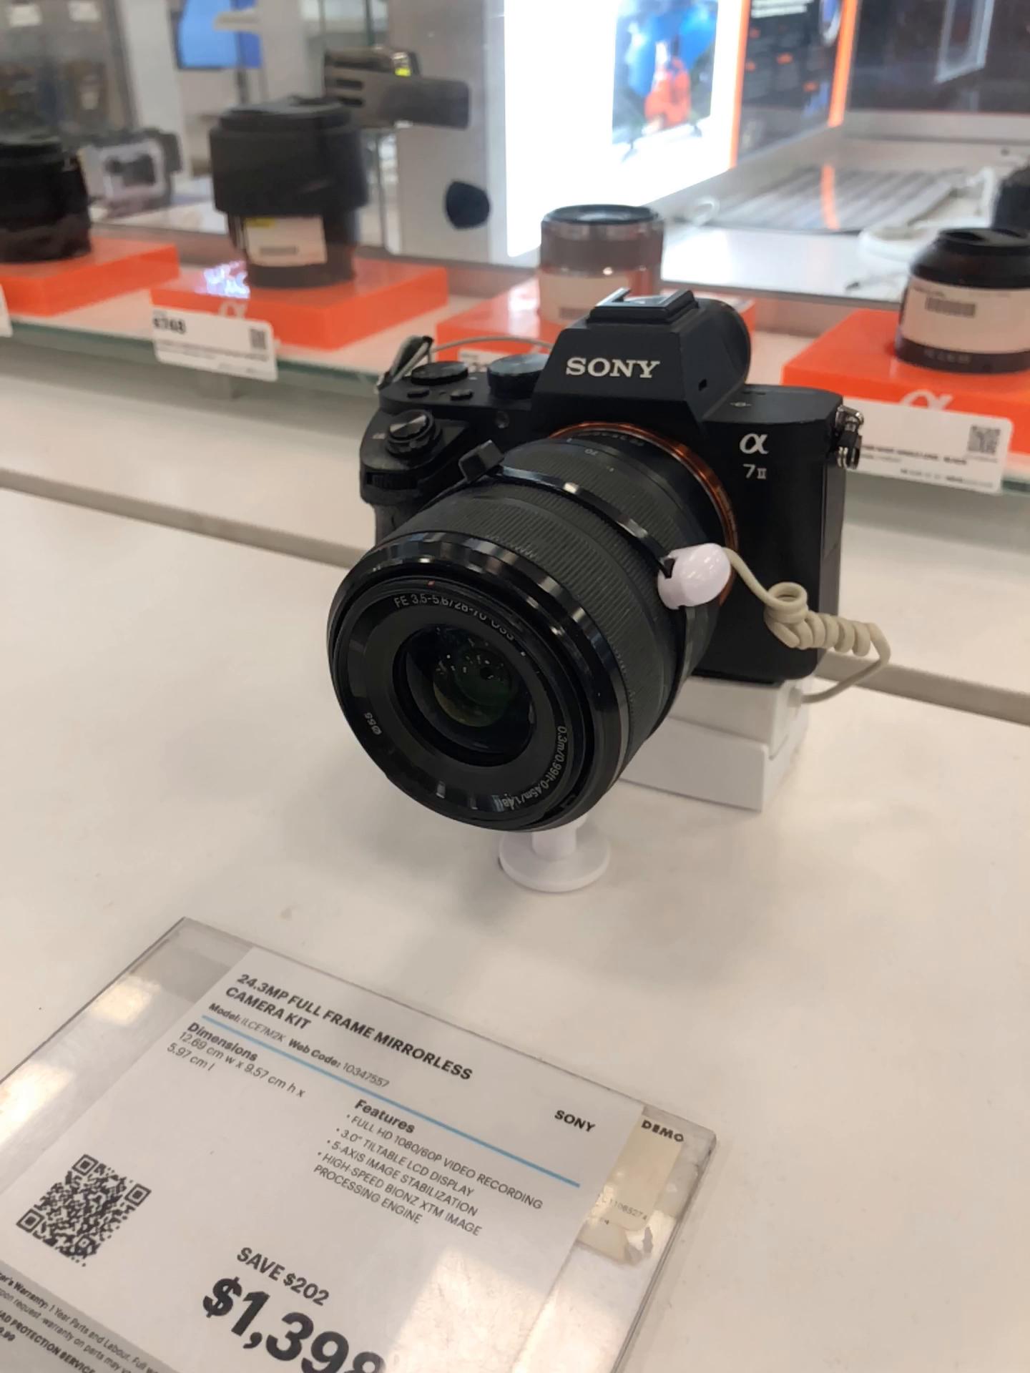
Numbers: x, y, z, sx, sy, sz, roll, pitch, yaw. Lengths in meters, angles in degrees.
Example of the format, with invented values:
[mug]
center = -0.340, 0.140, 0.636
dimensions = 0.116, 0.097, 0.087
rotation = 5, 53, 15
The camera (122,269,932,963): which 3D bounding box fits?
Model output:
[camera]
center = 0.015, -0.036, 0.297
dimensions = 0.140, 0.100, 0.150
rotation = 13, 34, 22
